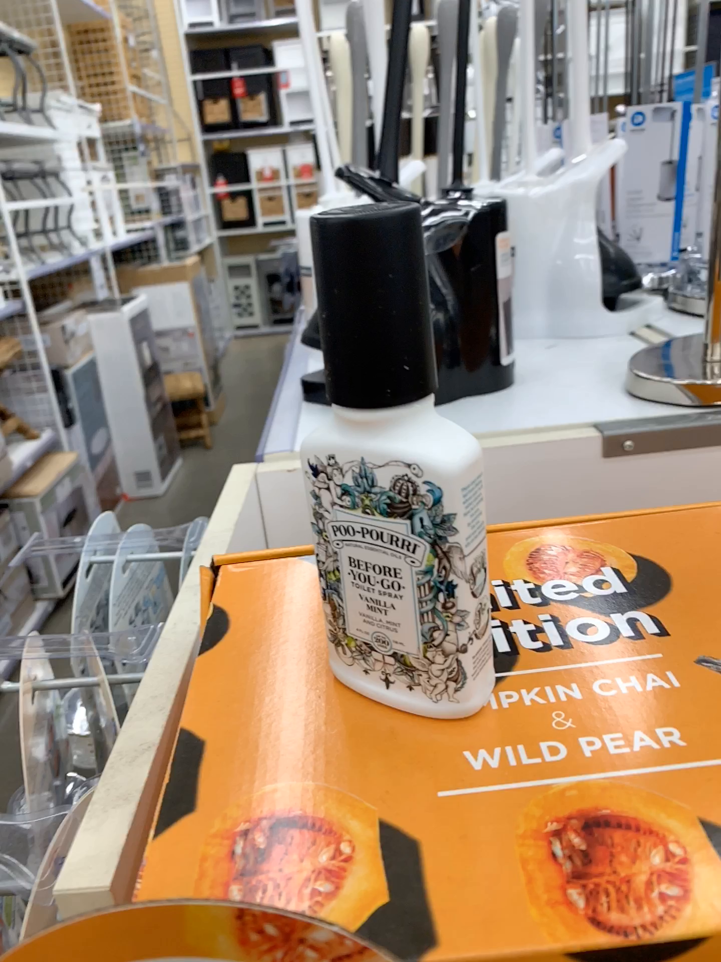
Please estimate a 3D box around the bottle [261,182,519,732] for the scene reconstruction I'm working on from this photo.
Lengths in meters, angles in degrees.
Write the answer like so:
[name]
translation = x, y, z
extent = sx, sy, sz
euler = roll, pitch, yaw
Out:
[bottle]
translation = 0.013, -0.004, 0.222
extent = 0.055, 0.151, 0.033
euler = 8, 26, 32
